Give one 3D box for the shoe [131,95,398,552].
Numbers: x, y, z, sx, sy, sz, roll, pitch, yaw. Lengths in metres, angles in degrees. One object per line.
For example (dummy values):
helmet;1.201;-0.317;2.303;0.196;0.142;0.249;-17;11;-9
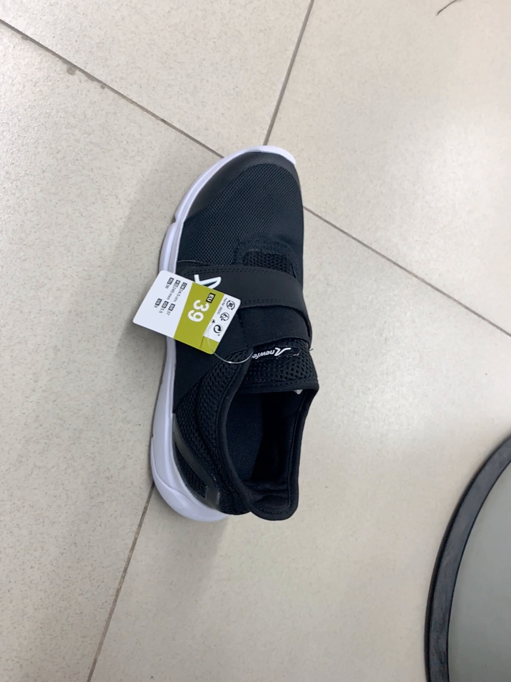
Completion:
shoe;0.006;-0.005;0.355;0.110;0.100;0.250;11;84;-31
